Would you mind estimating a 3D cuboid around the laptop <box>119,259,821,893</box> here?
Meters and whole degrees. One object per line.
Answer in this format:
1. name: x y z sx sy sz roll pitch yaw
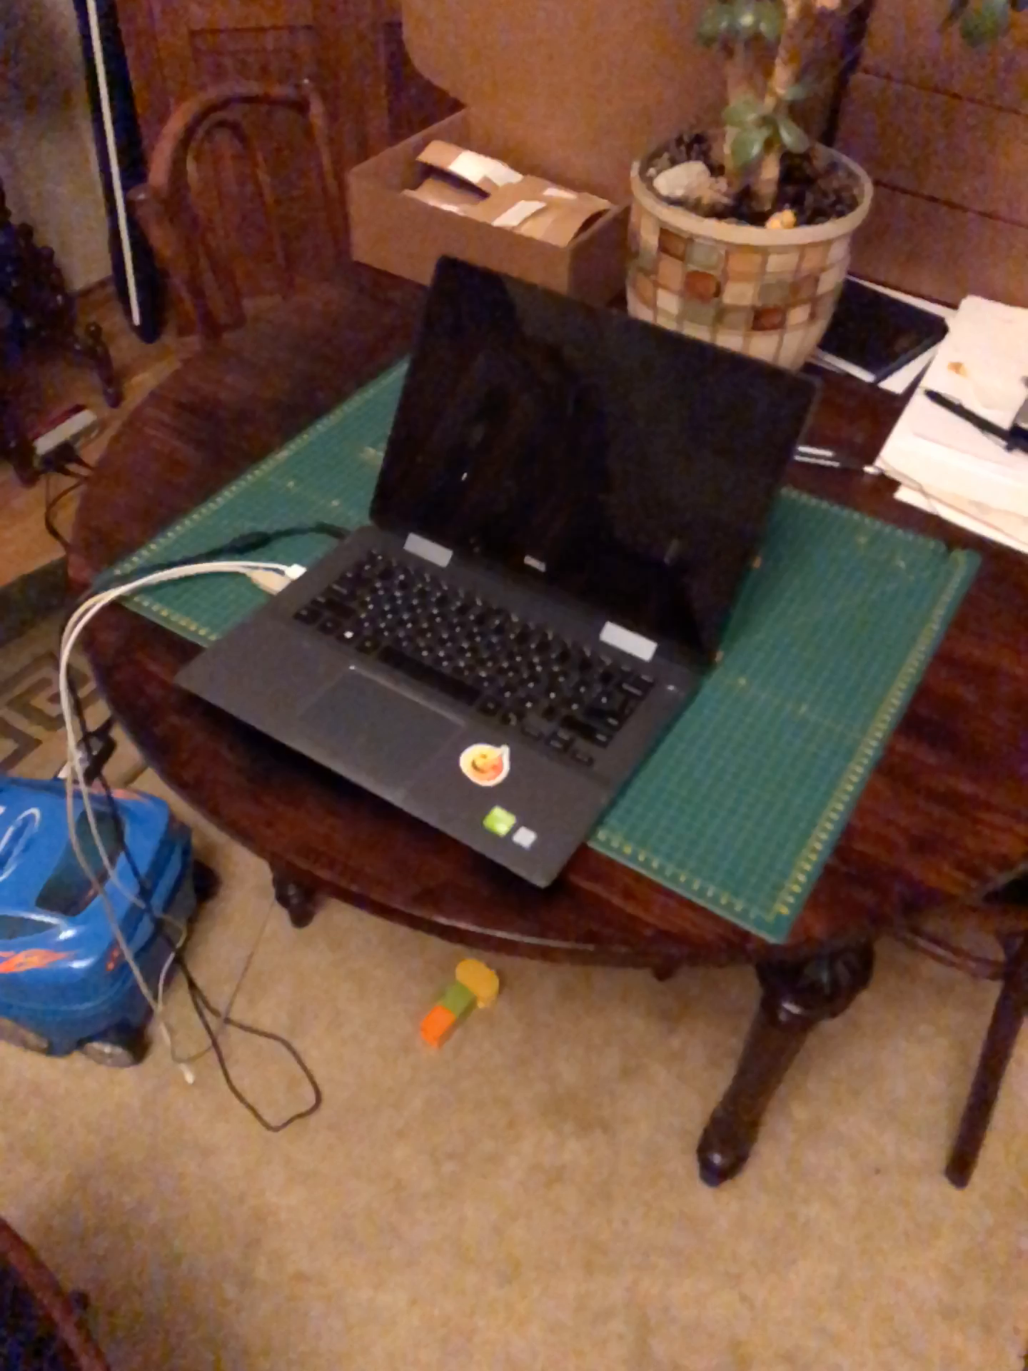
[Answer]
1. laptop: -0.018 -0.103 0.799 0.321 0.192 0.338 26 51 21
